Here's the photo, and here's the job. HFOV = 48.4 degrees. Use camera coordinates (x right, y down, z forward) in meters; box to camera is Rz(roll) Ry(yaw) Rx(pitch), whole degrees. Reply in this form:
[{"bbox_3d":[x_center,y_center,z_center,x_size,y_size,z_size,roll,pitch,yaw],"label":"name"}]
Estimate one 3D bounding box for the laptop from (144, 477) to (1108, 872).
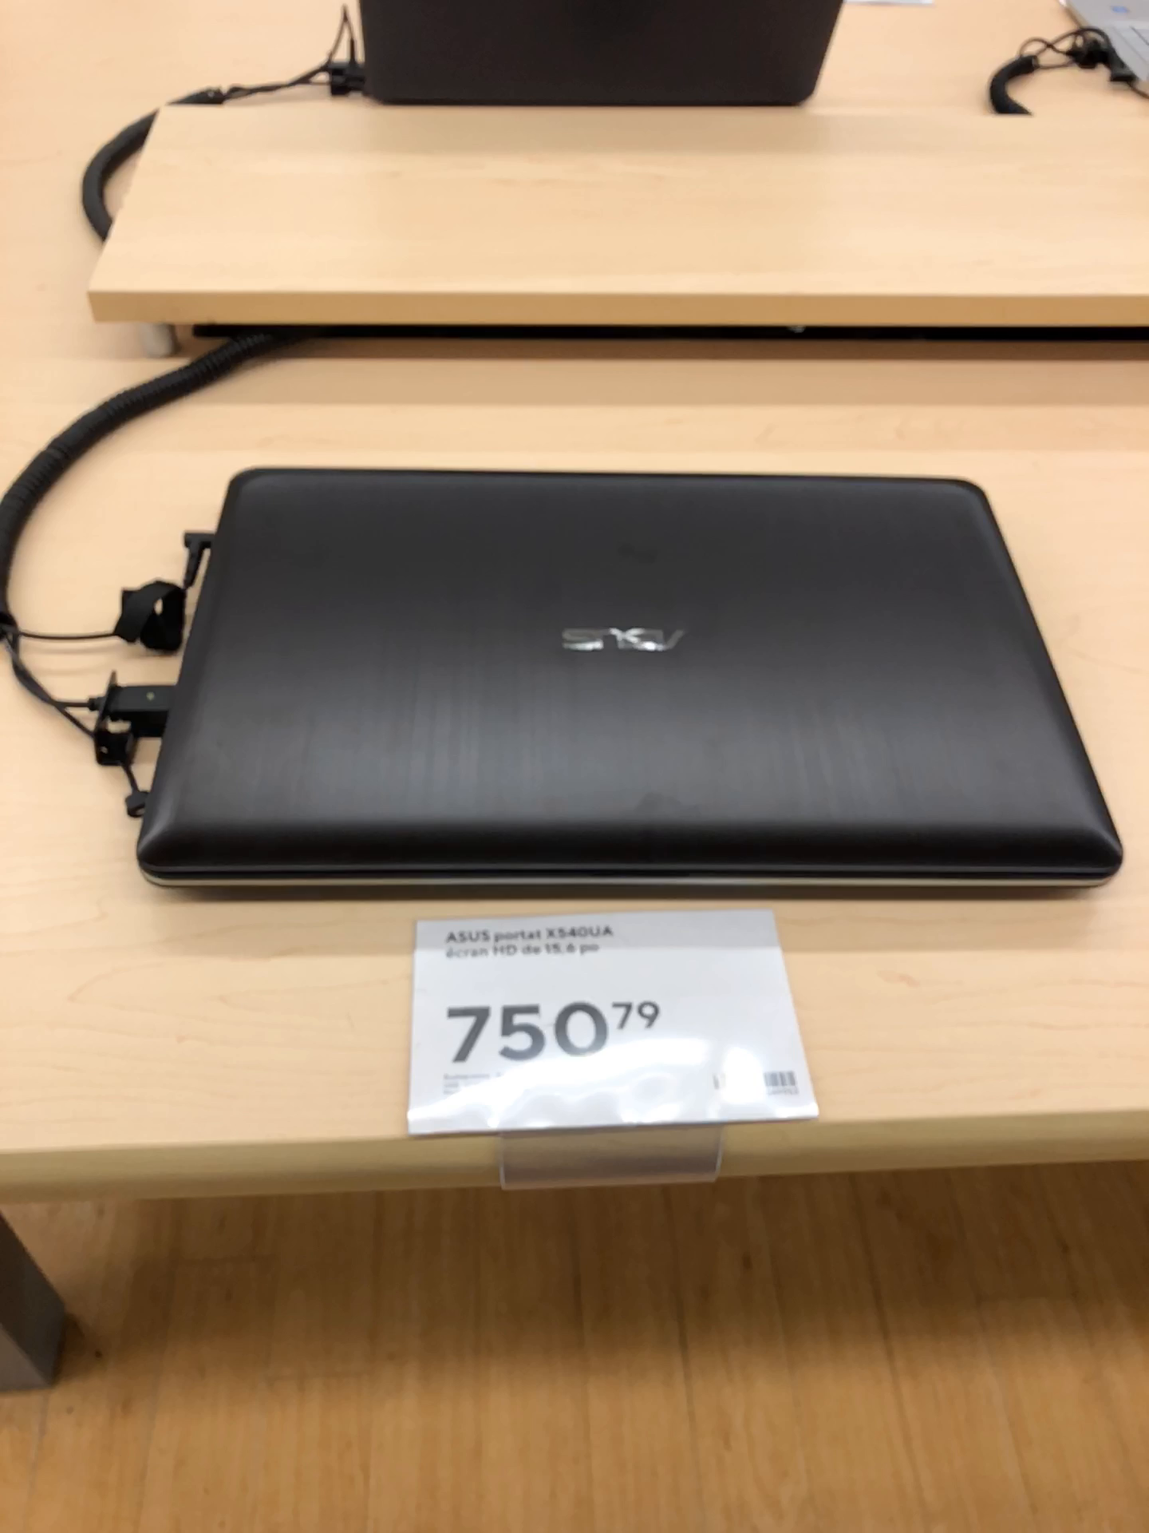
[{"bbox_3d":[0.021,-0.050,0.565,0.369,0.010,0.228,0,50,-3],"label":"laptop"}]
